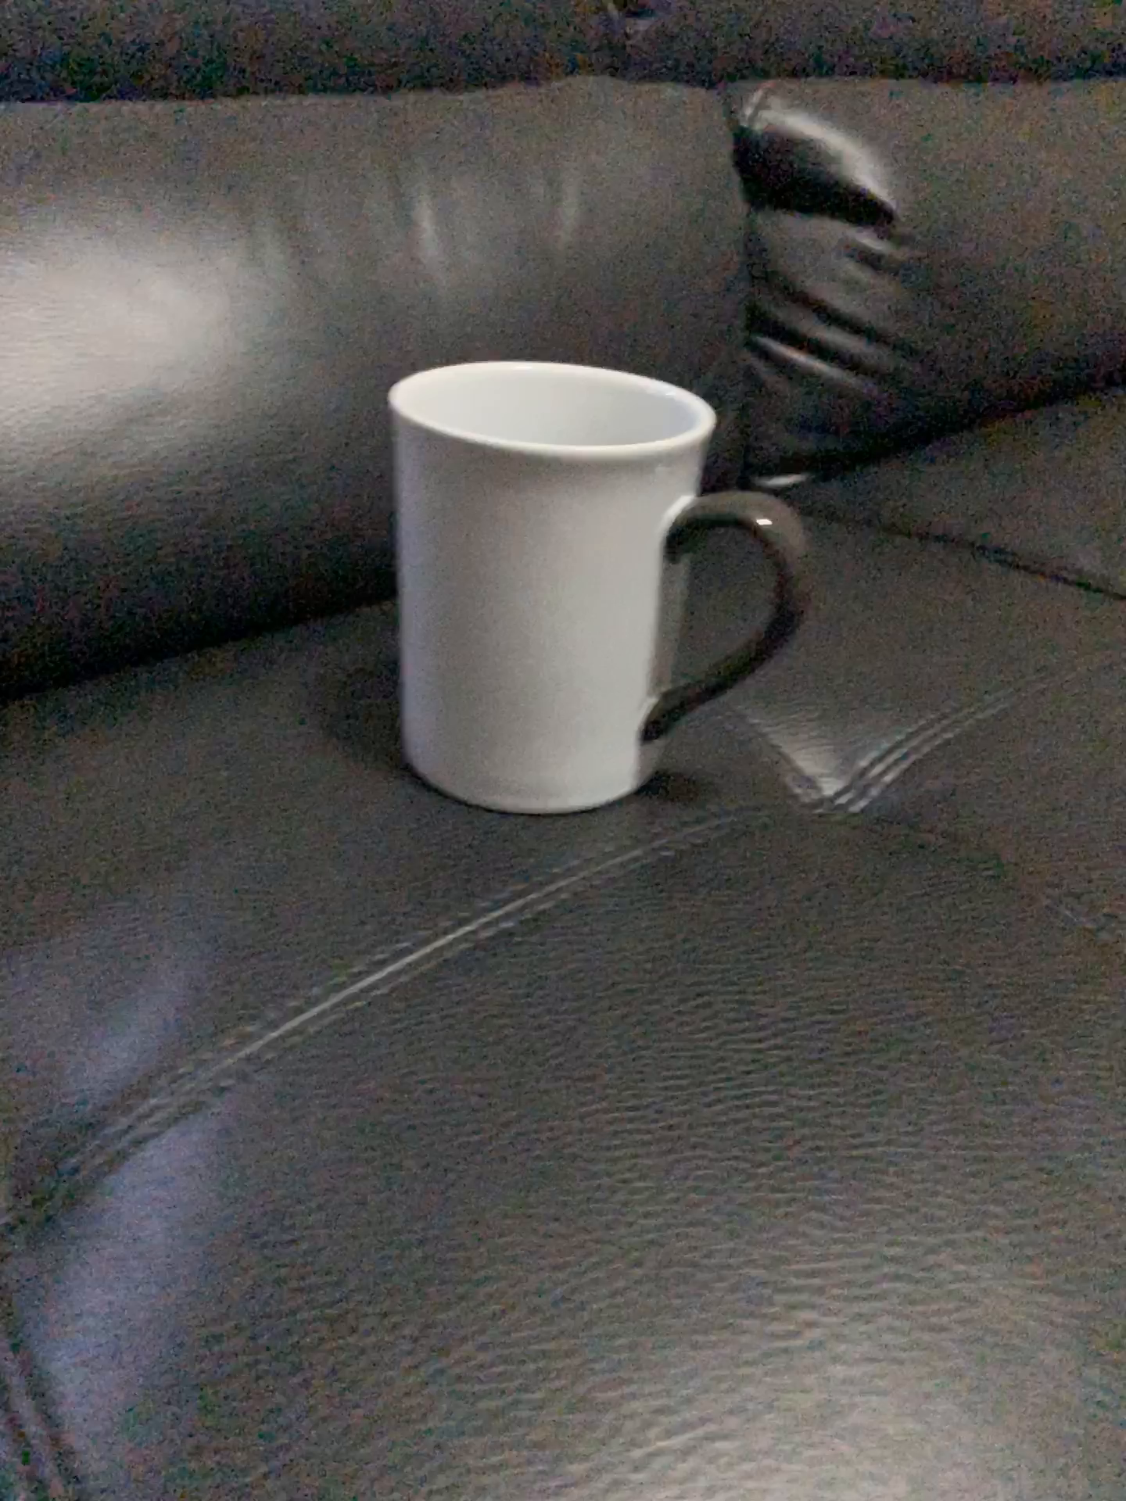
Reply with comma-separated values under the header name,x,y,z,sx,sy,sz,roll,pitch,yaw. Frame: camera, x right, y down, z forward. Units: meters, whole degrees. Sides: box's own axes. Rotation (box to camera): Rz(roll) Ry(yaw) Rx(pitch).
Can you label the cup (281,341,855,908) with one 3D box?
name,x,y,z,sx,sy,sz,roll,pitch,yaw
cup,0.001,-0.045,0.337,0.124,0.115,0.093,17,31,26
